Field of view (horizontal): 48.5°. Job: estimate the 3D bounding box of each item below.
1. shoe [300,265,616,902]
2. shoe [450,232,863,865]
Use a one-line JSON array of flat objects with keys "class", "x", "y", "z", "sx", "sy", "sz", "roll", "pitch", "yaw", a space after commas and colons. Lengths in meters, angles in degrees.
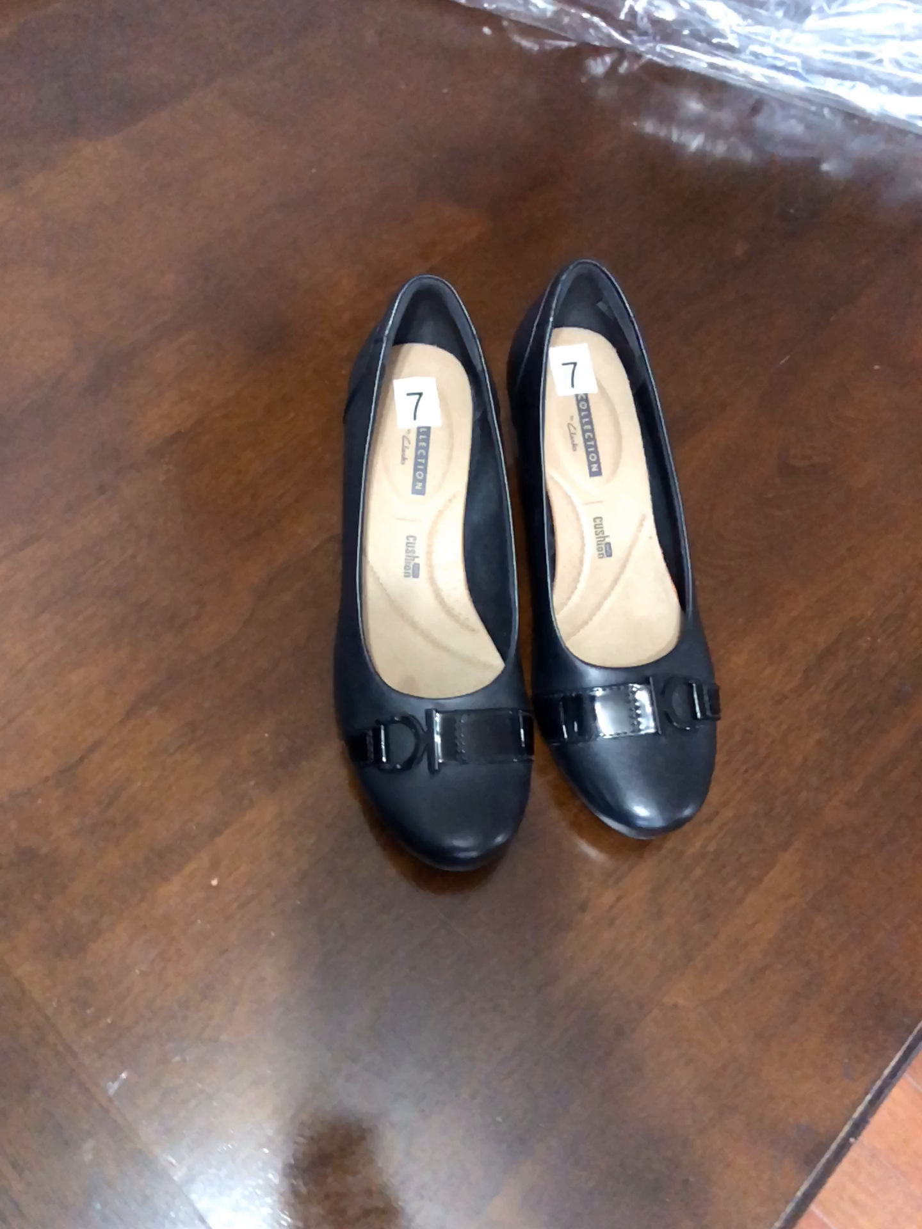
[{"class": "shoe", "x": -0.014, "y": -0.017, "z": 0.447, "sx": 0.090, "sy": 0.110, "sz": 0.250, "roll": -5, "pitch": 64, "yaw": -8}, {"class": "shoe", "x": 0.068, "y": -0.033, "z": 0.454, "sx": 0.090, "sy": 0.110, "sz": 0.250, "roll": -8, "pitch": 64, "yaw": -10}]
